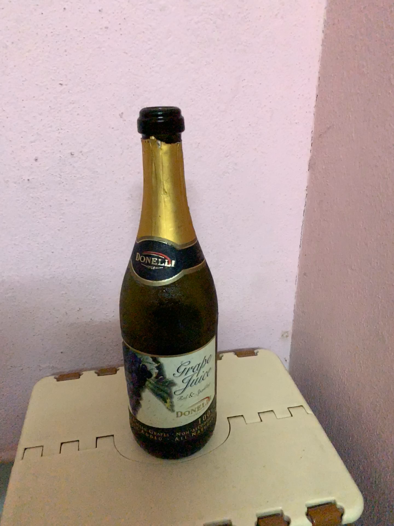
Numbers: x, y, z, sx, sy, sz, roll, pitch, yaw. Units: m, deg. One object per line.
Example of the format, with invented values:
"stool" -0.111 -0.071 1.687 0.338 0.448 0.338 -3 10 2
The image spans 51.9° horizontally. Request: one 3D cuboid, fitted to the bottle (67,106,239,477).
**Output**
"bottle" -0.025 0.028 0.321 0.090 0.279 0.070 9 25 19
